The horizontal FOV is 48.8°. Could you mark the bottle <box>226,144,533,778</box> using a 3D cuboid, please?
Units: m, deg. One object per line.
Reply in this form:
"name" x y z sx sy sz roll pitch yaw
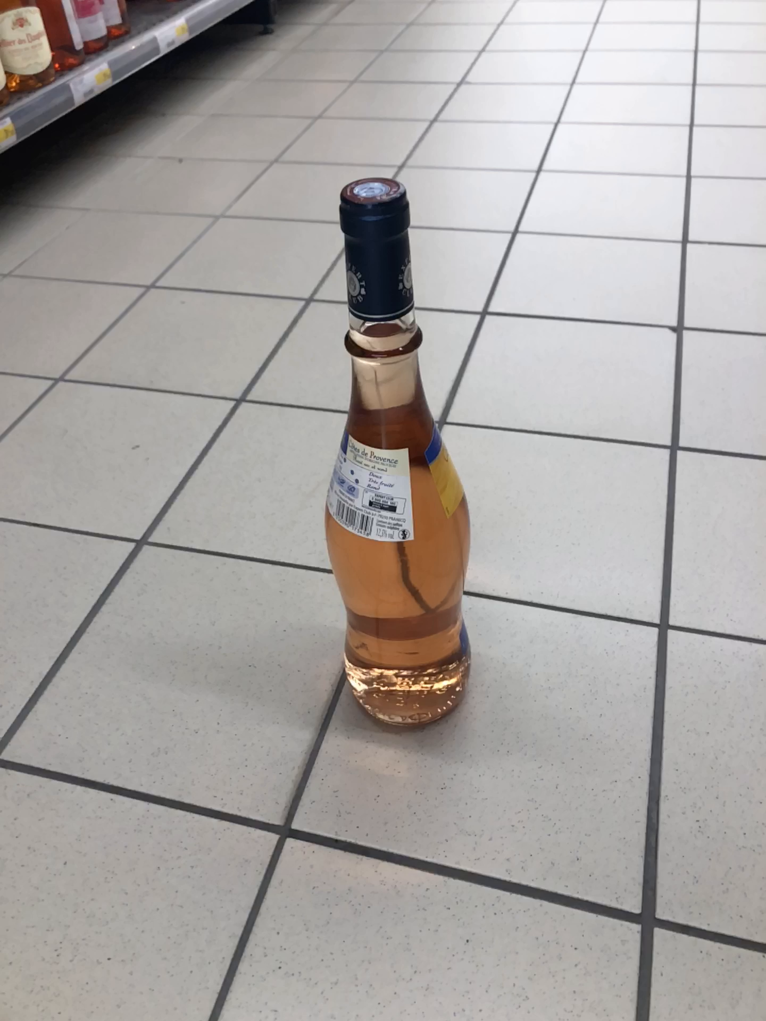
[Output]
"bottle" 0.008 -0.003 0.434 0.080 0.318 0.090 -35 49 -30
